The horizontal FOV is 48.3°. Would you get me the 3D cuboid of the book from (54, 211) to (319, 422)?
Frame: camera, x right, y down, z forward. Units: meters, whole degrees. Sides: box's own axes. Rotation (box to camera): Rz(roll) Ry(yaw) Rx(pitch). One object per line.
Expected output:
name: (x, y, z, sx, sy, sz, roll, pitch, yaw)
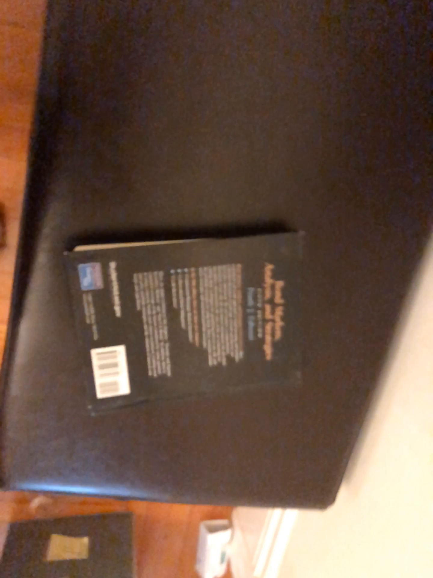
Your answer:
book: (-0.023, 0.028, 0.522, 0.260, 0.040, 0.200, -6, 109, -9)
